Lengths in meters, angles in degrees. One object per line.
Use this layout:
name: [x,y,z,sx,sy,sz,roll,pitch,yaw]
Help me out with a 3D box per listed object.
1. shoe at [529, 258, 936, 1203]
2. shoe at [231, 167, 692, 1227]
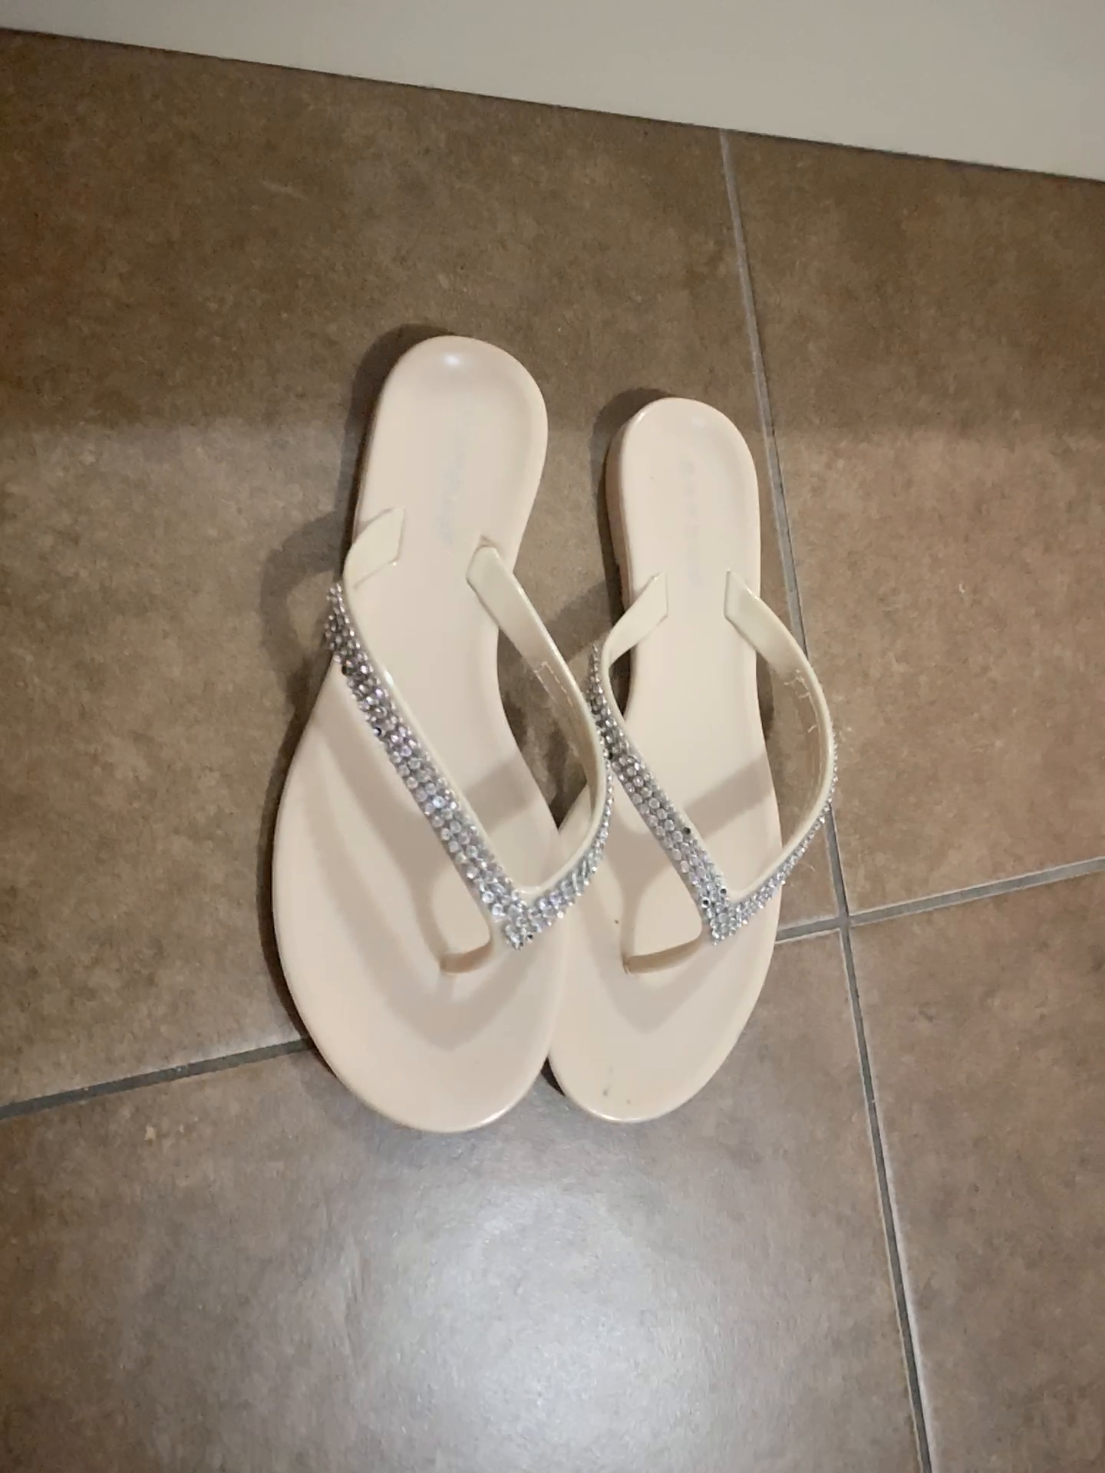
shoe: [0.055,0.000,0.343,0.092,0.067,0.249,7,82,-23]
shoe: [-0.024,-0.009,0.310,0.093,0.067,0.249,7,82,-23]
